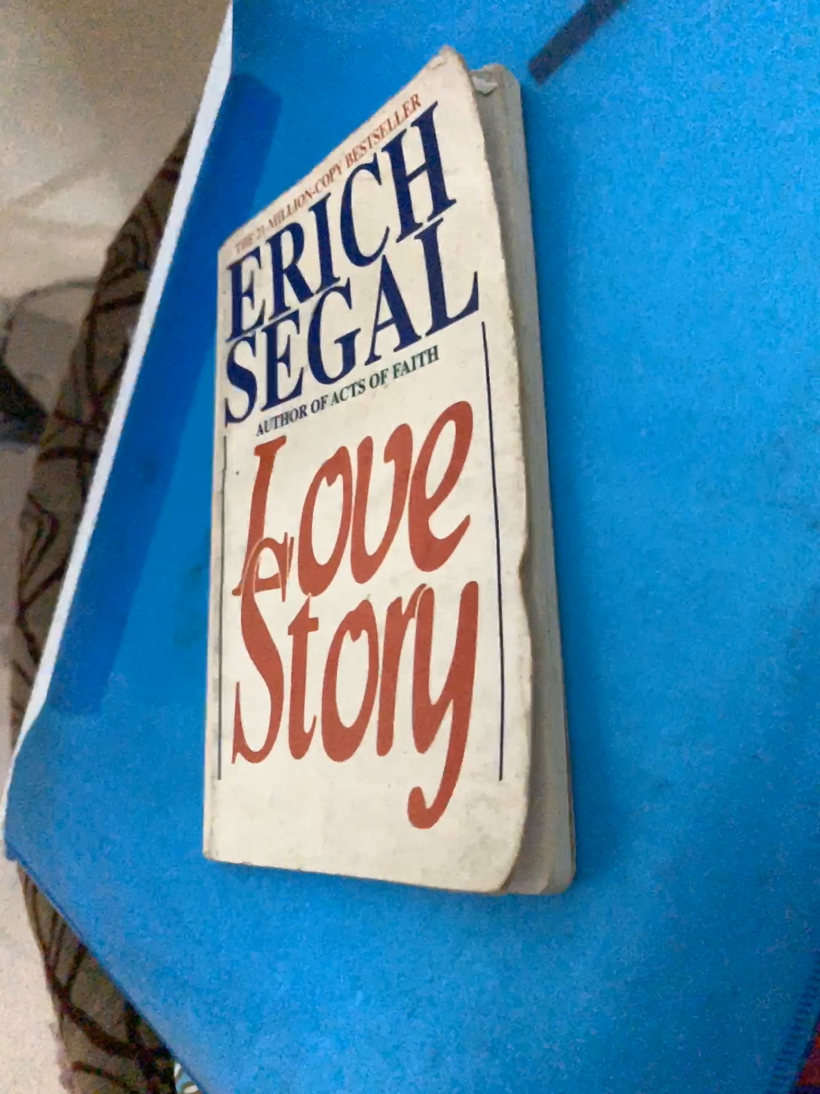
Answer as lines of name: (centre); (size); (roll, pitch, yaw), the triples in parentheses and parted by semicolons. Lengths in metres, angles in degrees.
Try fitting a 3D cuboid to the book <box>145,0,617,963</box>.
book: (-0.015, -0.014, 0.194); (0.110, 0.020, 0.180); (-12, 73, 39)
